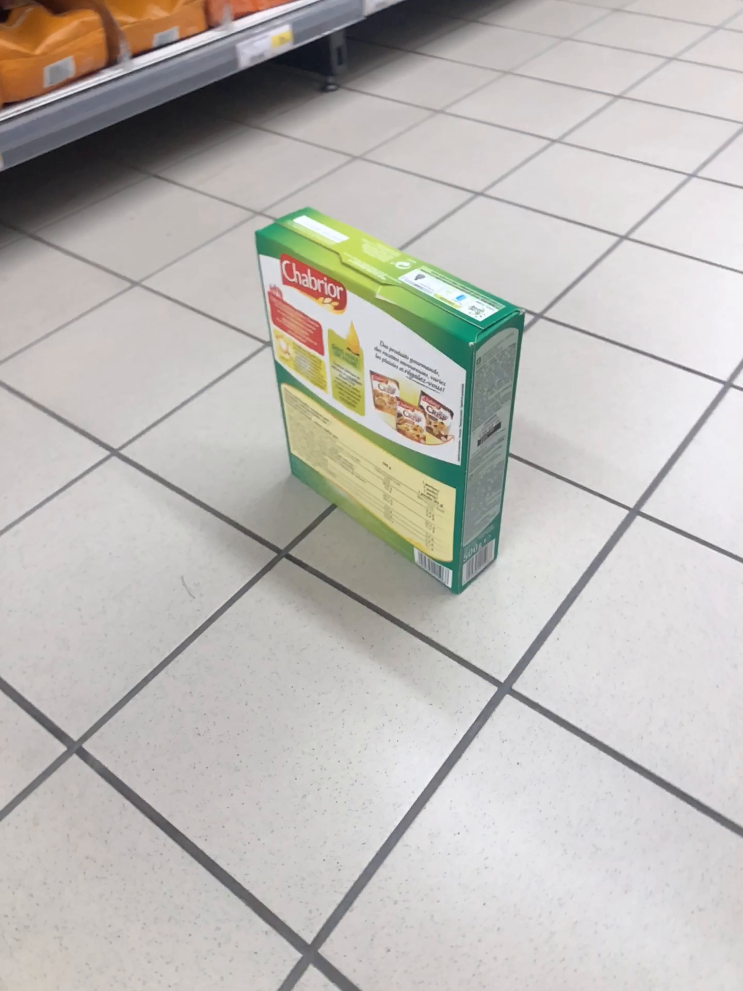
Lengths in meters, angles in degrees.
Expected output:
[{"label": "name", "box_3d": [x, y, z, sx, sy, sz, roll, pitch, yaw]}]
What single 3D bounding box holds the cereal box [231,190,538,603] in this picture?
[{"label": "cereal box", "box_3d": [0.004, -0.066, 0.568, 0.060, 0.219, 0.200, -35, 54, -29]}]
